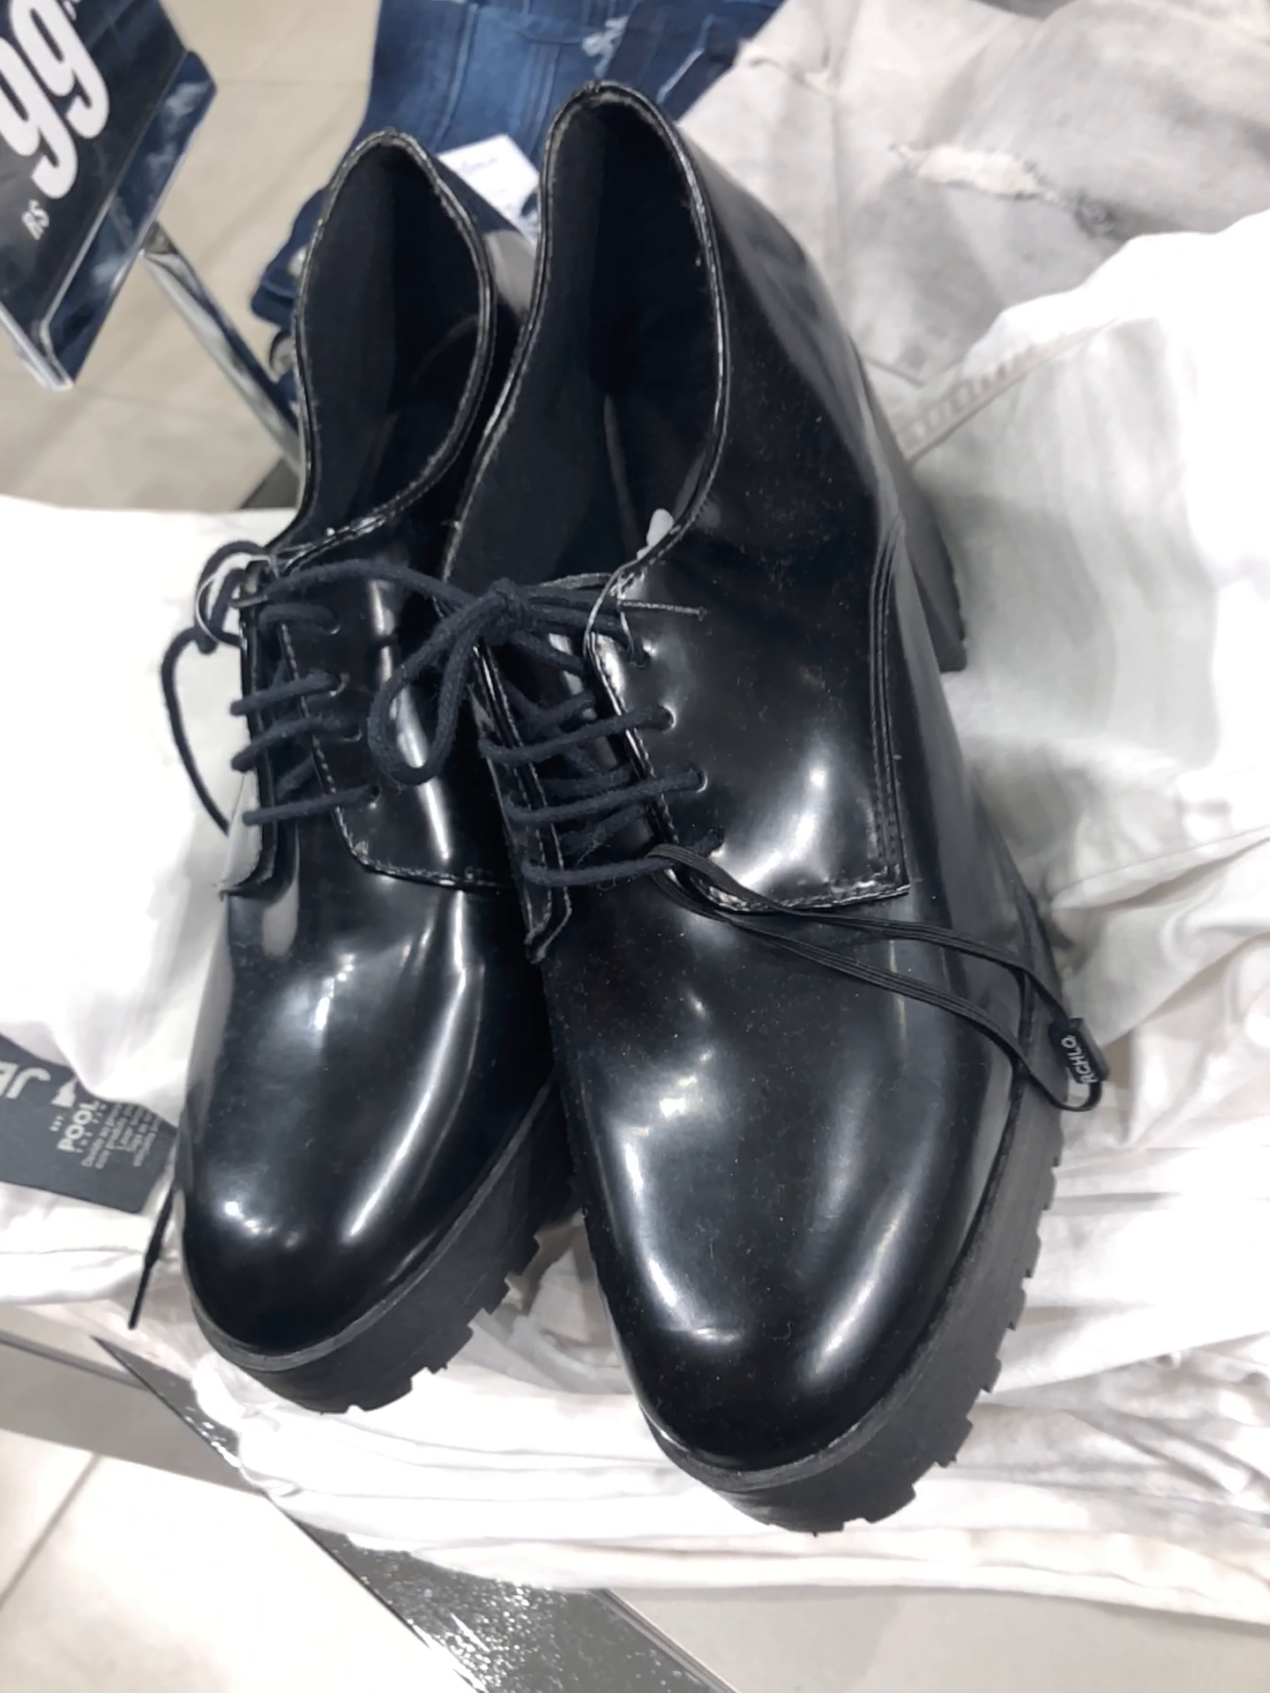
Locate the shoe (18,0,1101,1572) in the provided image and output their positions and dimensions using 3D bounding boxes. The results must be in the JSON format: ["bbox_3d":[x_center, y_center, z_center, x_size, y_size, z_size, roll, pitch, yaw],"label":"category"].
[{"bbox_3d":[0.013,-0.017,0.281,0.100,0.149,0.261,-11,50,22],"label":"shoe"}]

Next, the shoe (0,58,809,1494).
[{"bbox_3d":[-0.051,-0.019,0.321,0.100,0.159,0.261,-4,52,26],"label":"shoe"}]
